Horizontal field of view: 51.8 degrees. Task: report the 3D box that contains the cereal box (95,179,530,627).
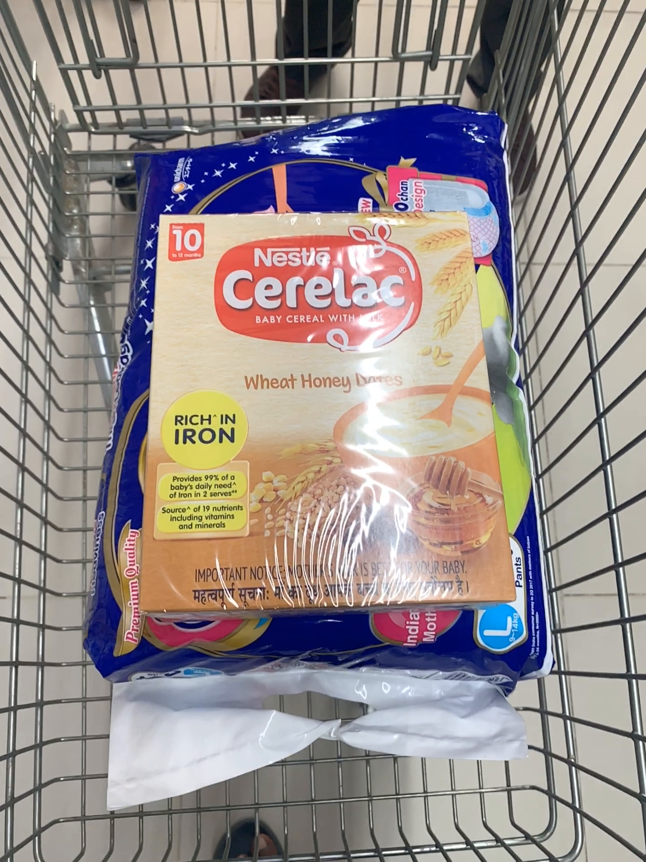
[{"bbox_3d":[-0.008,-0.014,0.303,0.160,0.060,0.190,-2,72,-2],"label":"cereal box"}]
